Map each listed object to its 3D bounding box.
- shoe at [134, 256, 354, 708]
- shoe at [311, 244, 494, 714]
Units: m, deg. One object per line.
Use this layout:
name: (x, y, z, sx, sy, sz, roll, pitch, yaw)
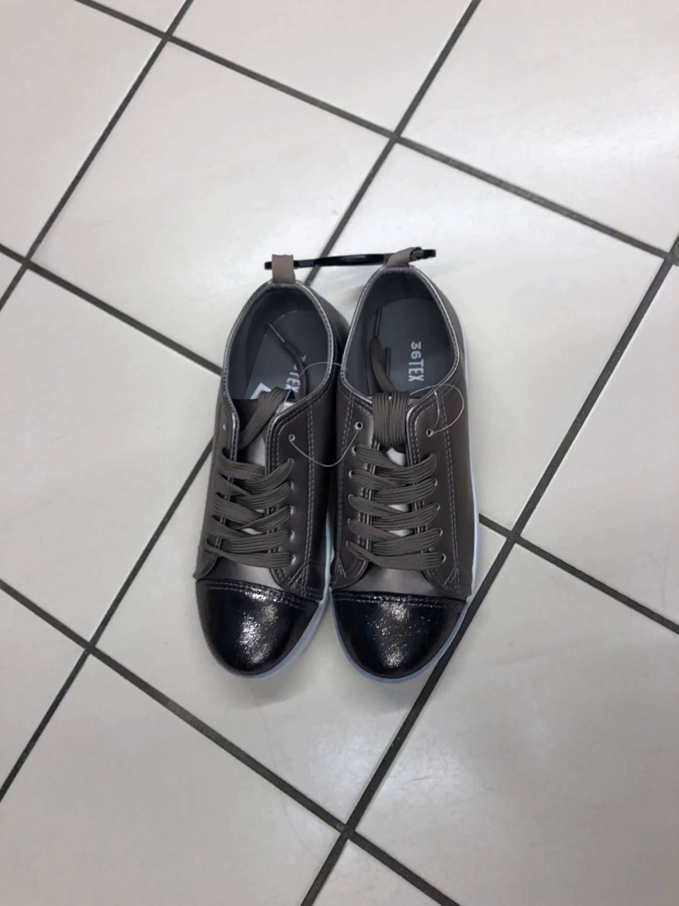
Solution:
shoe: (-0.049, 0.015, 0.441, 0.090, 0.080, 0.240, 1, 80, 11)
shoe: (0.041, 0.014, 0.427, 0.090, 0.080, 0.240, 0, 80, 11)
